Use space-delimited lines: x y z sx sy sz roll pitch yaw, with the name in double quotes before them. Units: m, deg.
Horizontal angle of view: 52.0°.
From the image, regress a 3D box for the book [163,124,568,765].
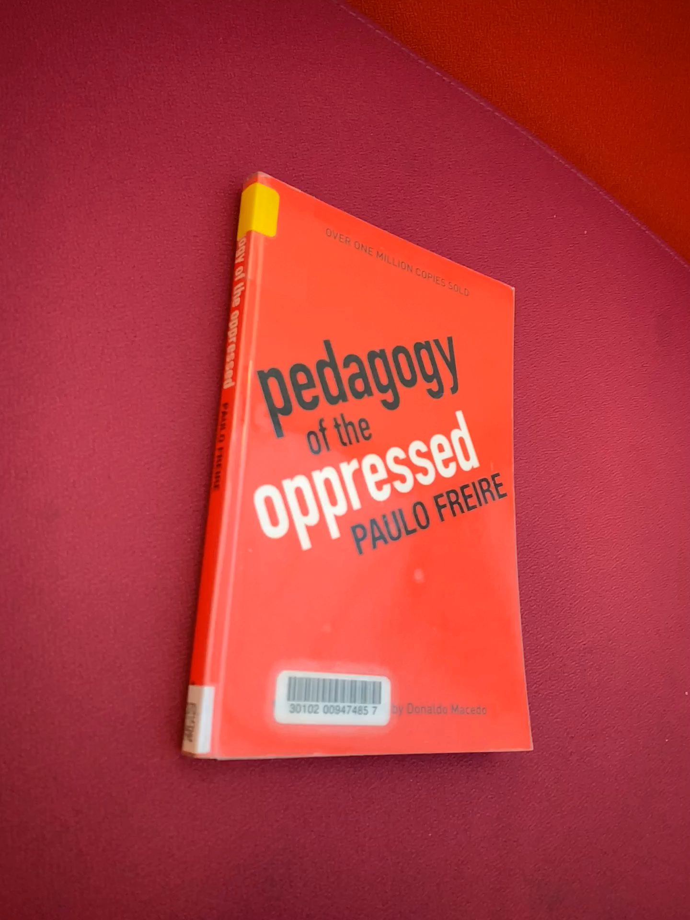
"book" 0.024 -0.001 0.308 0.171 0.030 0.241 14 70 -31
